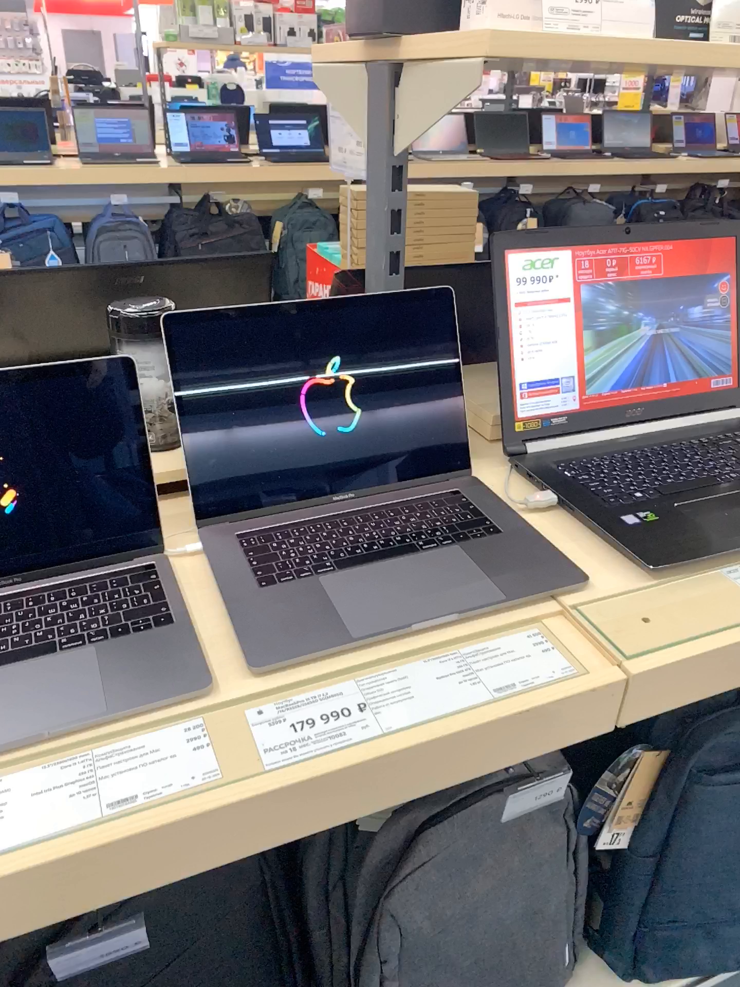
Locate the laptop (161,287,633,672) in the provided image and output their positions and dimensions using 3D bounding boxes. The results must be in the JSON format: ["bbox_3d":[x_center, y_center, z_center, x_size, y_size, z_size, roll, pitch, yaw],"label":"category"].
[{"bbox_3d":[0.001,-0.050,0.770,0.345,0.210,0.326,-10,31,-20],"label":"laptop"}]
